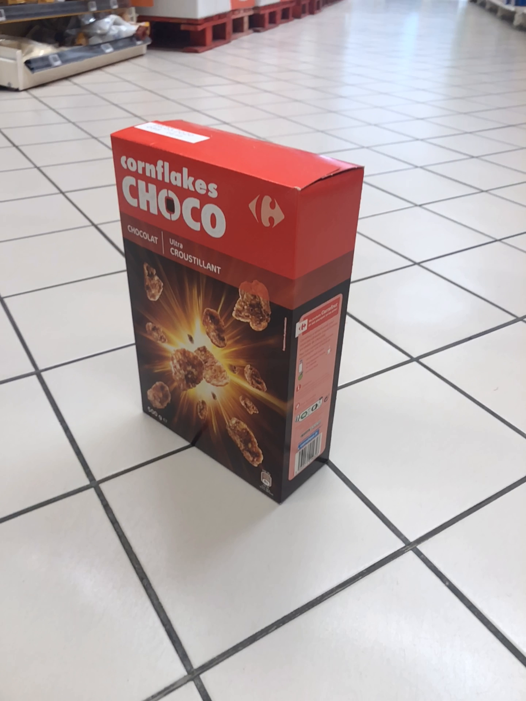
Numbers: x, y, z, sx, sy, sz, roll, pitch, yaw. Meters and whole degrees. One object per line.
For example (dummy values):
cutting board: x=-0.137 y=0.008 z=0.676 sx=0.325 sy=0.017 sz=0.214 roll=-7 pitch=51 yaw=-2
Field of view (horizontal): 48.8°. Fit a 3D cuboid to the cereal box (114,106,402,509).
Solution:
cereal box: x=-0.014 y=-0.040 z=0.495 sx=0.200 sy=0.278 sz=0.091 roll=27 pitch=40 yaw=33
